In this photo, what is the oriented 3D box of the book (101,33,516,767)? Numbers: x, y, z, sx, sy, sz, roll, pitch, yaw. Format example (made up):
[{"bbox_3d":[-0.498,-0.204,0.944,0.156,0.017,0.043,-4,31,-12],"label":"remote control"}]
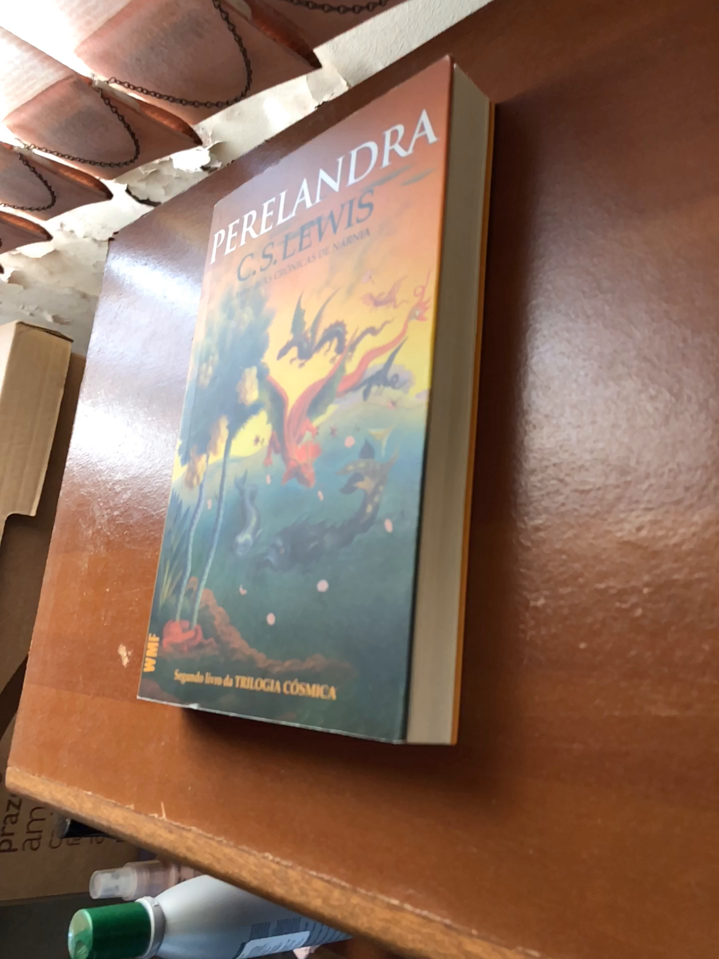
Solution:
[{"bbox_3d":[-0.019,-0.020,0.248,0.130,0.030,0.190,-10,68,46],"label":"book"}]
